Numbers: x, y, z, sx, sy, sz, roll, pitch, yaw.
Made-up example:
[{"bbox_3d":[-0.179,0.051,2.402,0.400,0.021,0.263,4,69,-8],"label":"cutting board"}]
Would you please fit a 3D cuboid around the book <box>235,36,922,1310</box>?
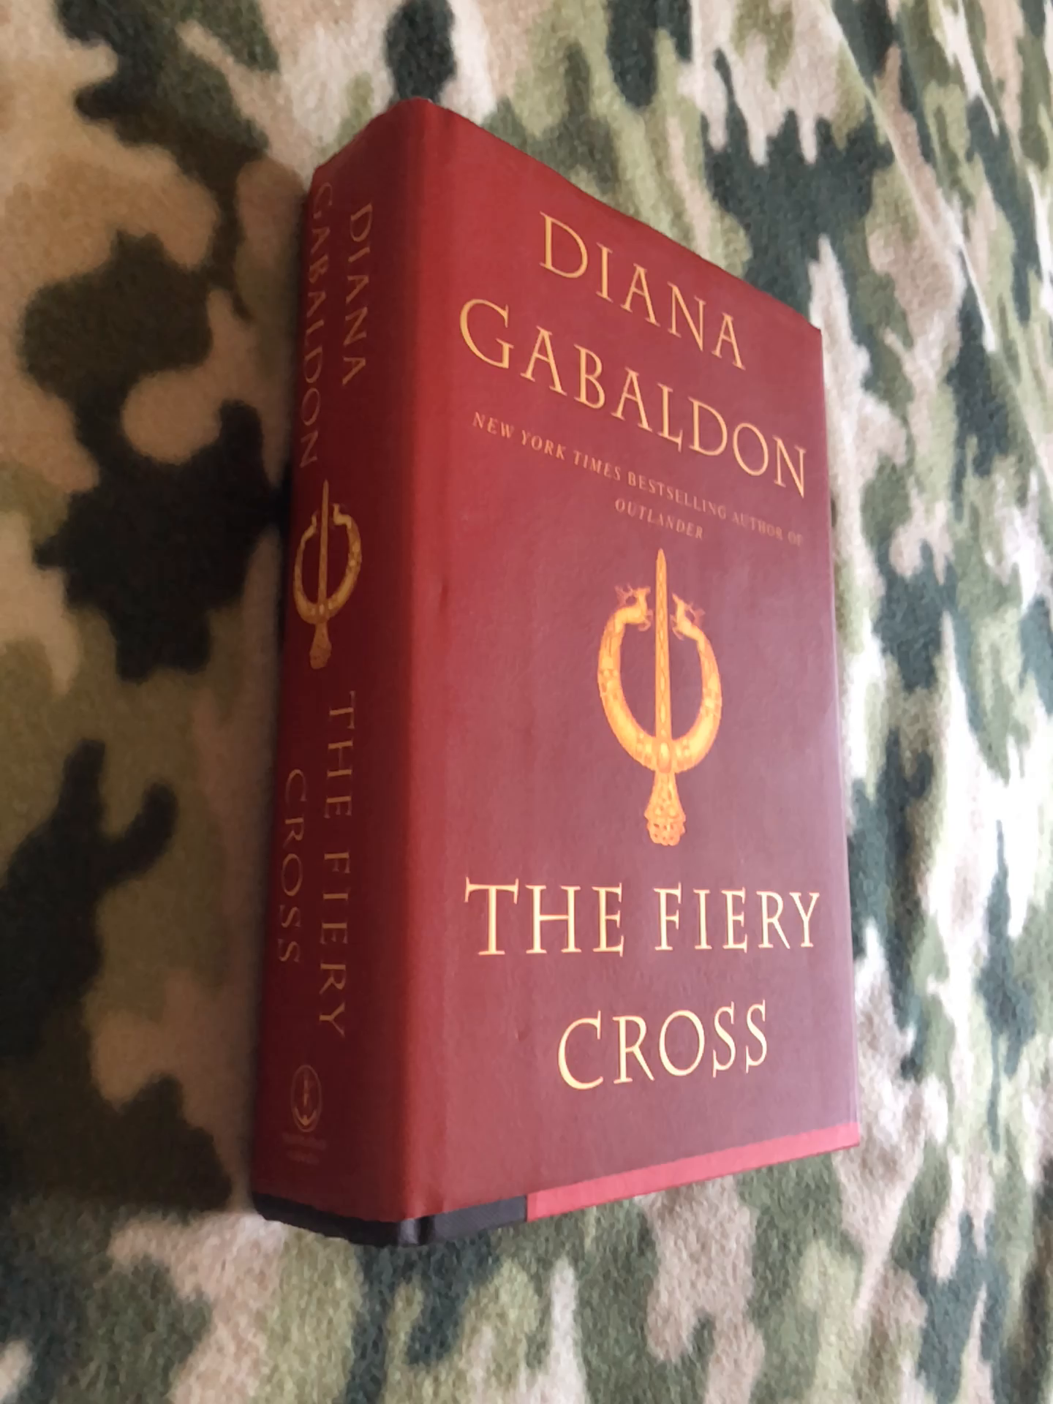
[{"bbox_3d":[0.022,-0.003,0.307,0.171,0.070,0.250,10,75,-44],"label":"book"}]
